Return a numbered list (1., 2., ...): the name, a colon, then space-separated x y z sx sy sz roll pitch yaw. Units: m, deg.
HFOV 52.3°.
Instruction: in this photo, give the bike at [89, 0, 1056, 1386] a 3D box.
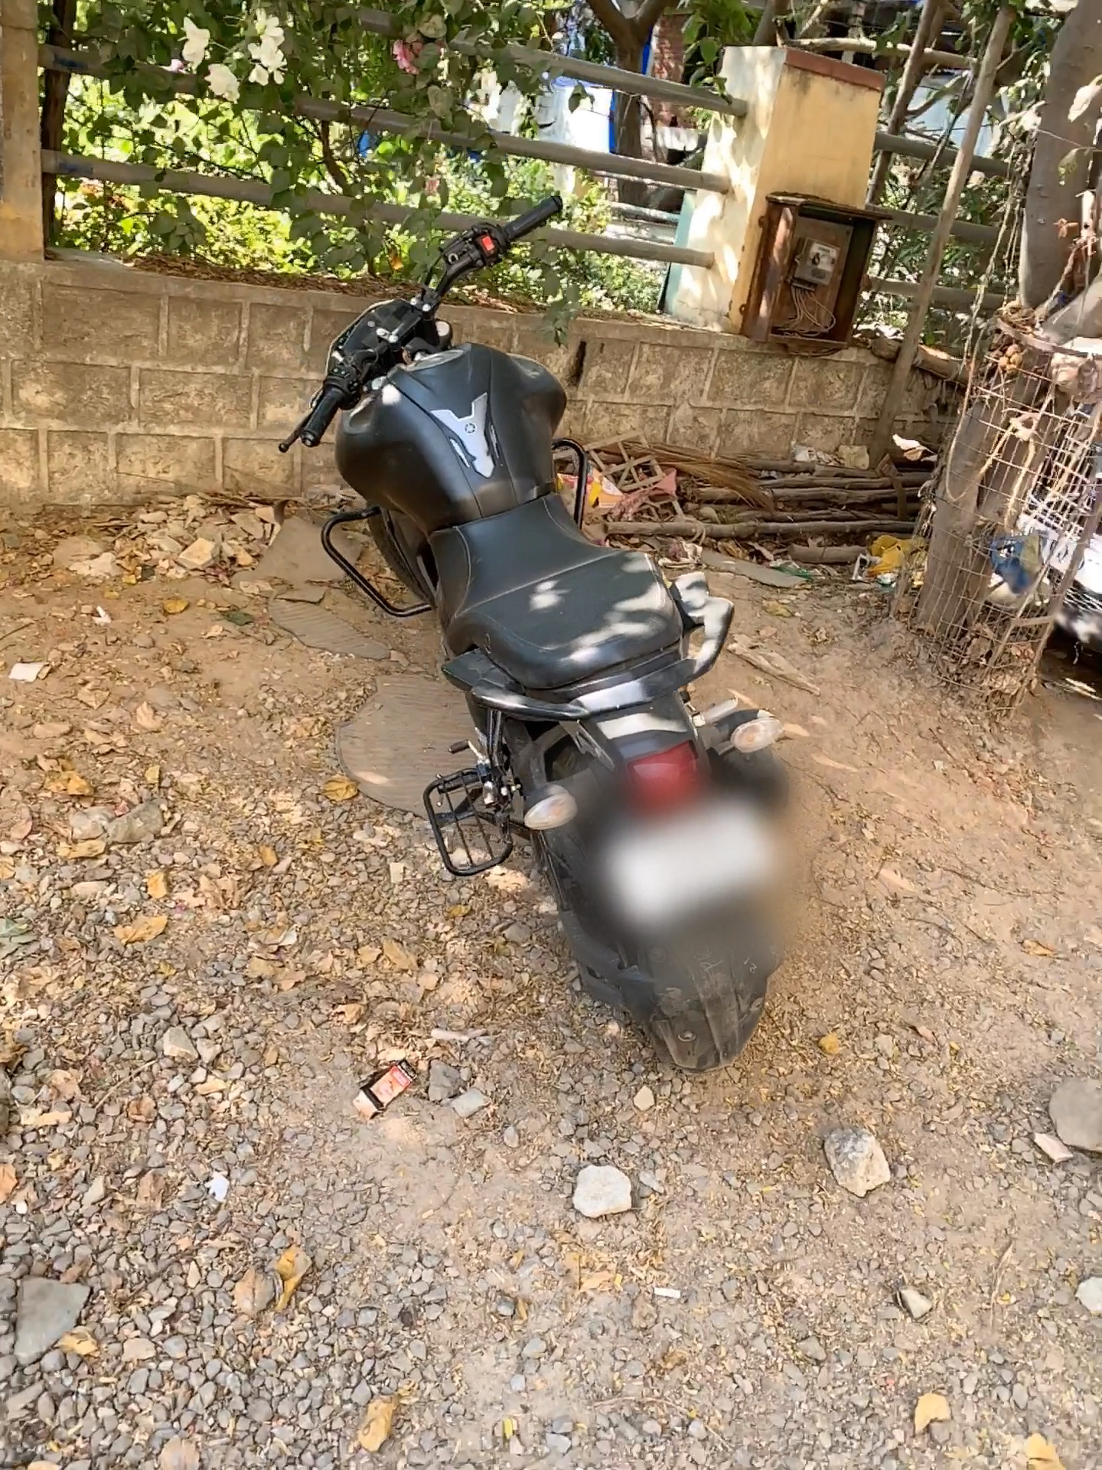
1. bike: -0.291 -0.303 2.013 0.819 1.499 1.762 -3 33 -26
